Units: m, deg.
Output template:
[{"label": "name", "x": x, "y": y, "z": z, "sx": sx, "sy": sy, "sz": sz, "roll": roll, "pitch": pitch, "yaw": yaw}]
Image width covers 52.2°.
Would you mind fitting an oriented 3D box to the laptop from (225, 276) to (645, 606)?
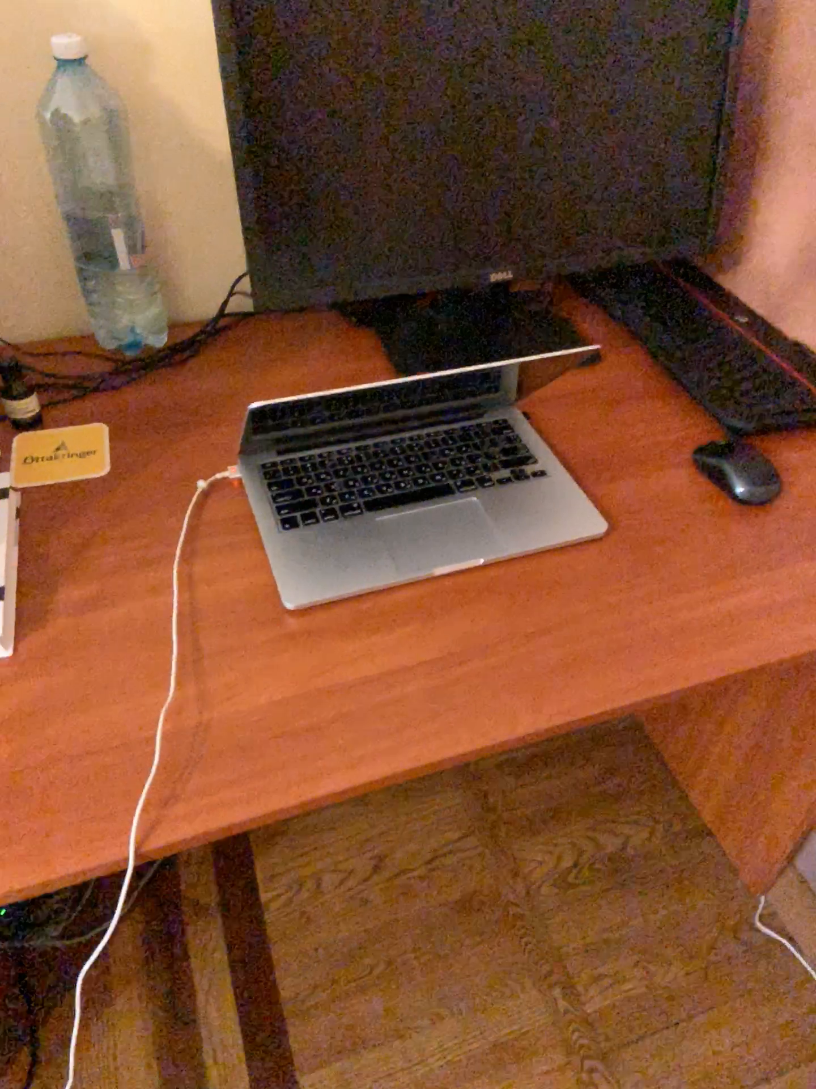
[{"label": "laptop", "x": 0.013, "y": -0.106, "z": 0.745, "sx": 0.303, "sy": 0.150, "sz": 0.208, "roll": -13, "pitch": 45, "yaw": -16}]
